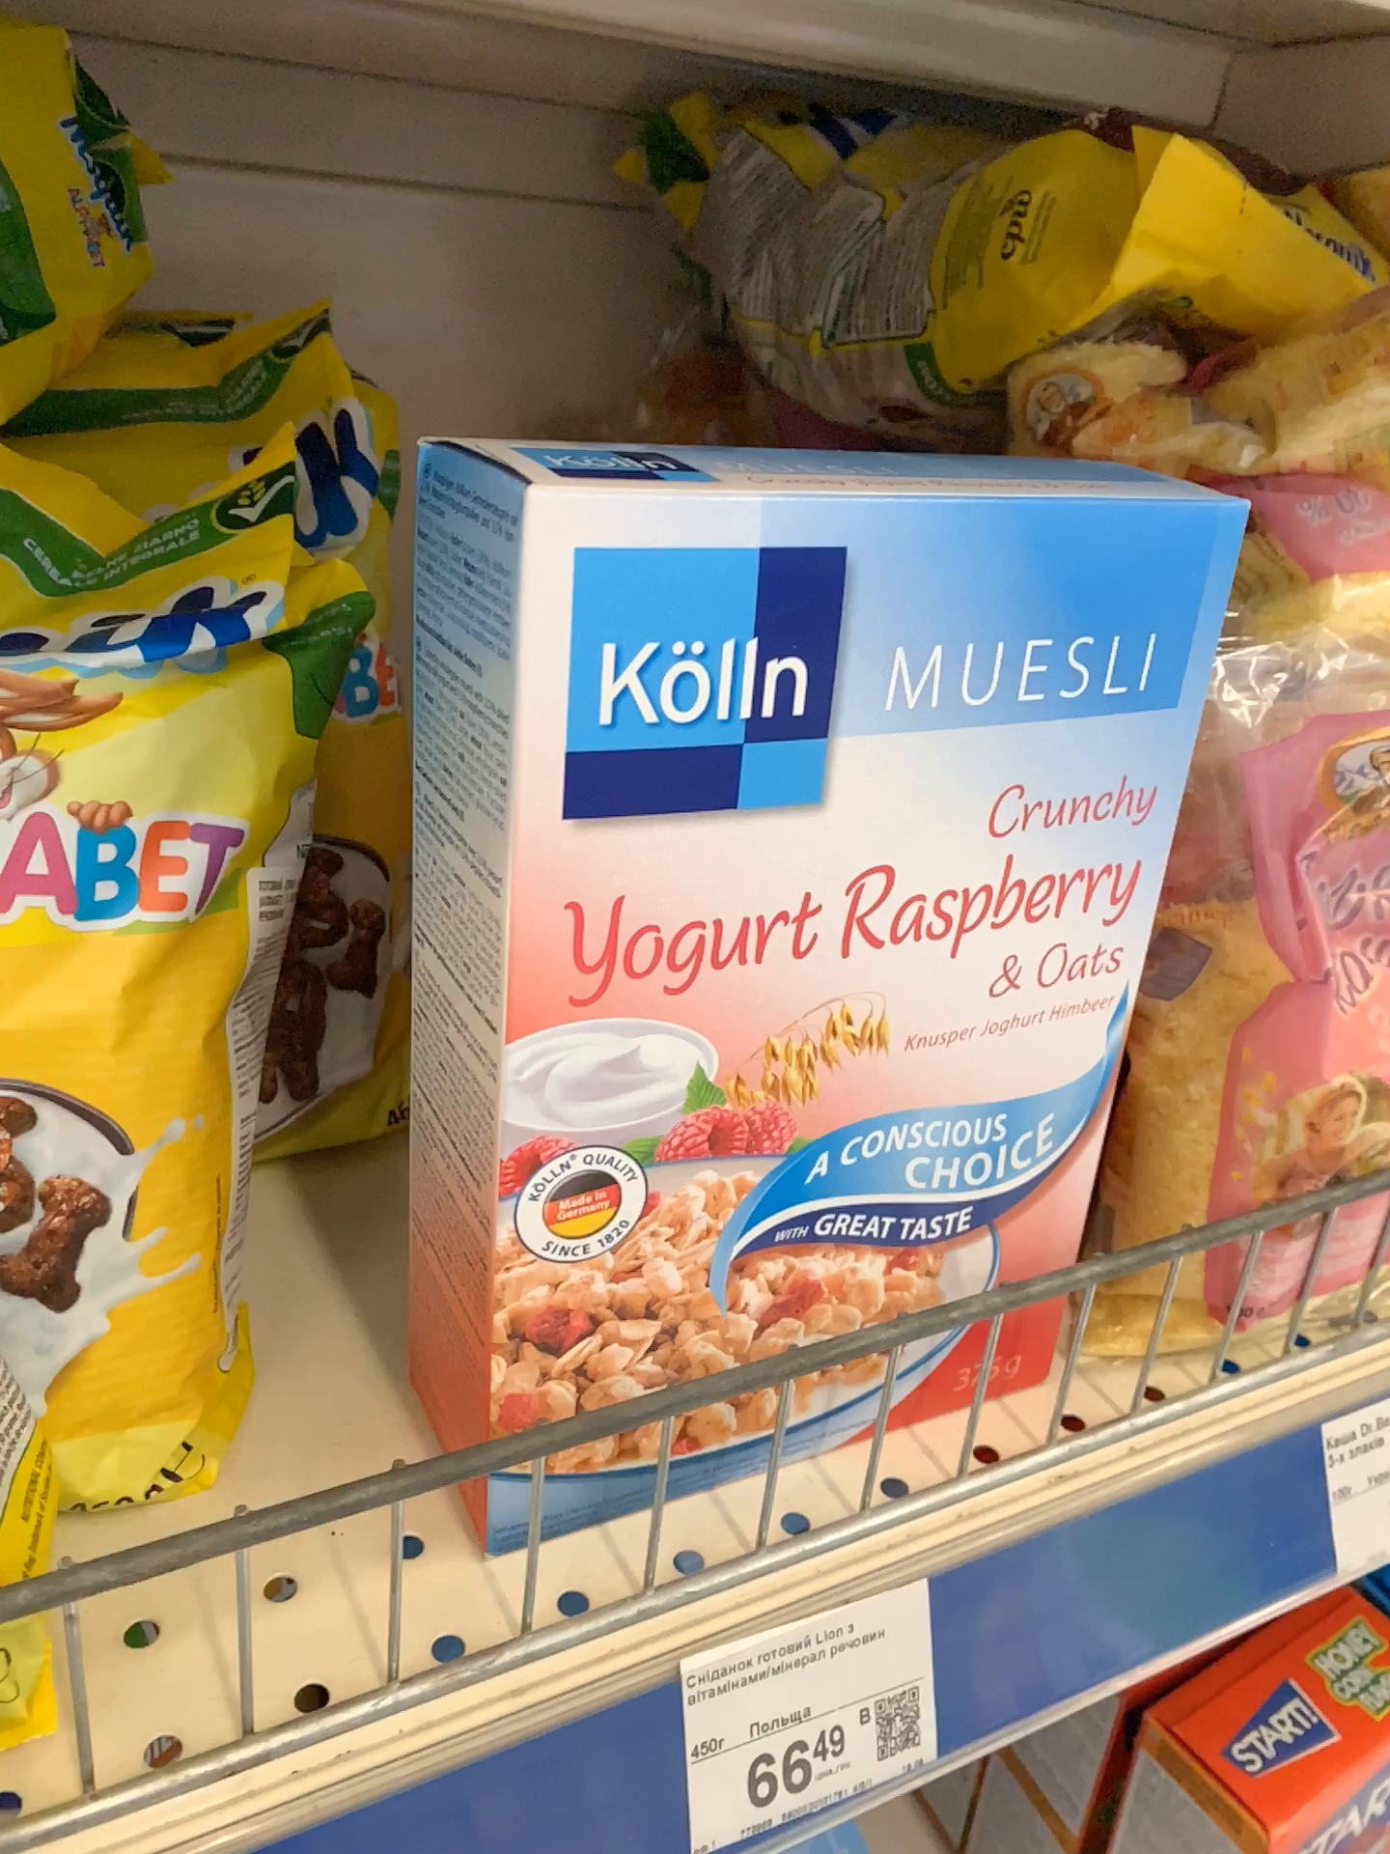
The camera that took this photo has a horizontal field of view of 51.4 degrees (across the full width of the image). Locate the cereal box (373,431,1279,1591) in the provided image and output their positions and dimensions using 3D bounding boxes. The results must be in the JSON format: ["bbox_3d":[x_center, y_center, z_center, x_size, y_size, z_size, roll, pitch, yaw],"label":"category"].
[{"bbox_3d":[0.017,0.014,0.296,0.150,0.208,0.060,-7,27,-25],"label":"cereal box"}]
